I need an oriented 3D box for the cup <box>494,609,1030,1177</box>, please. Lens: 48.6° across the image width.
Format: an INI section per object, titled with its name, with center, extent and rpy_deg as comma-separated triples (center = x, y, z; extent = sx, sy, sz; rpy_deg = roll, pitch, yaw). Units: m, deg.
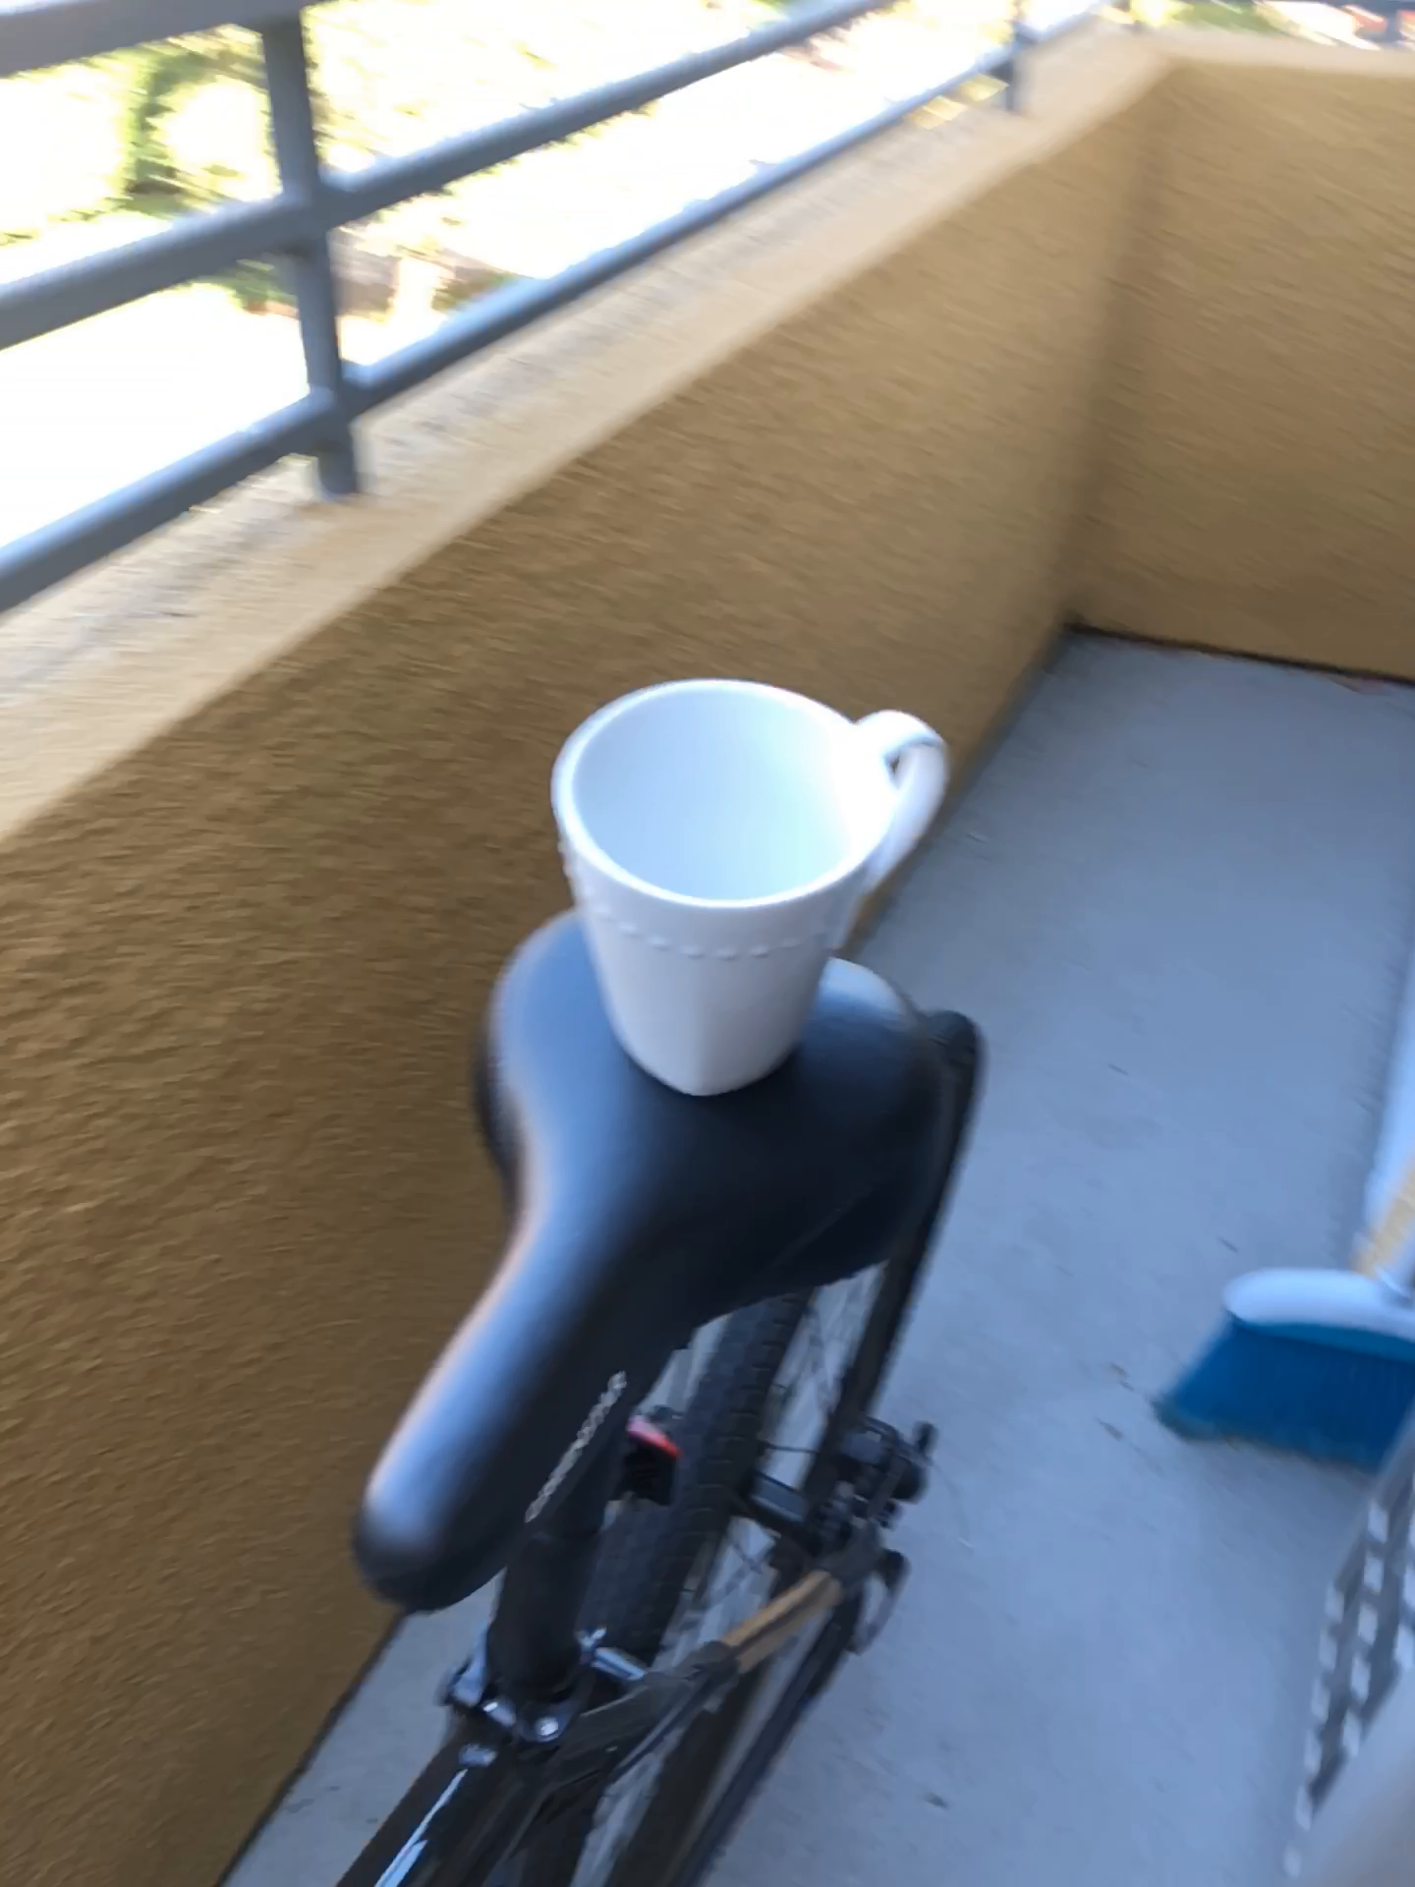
[cup]
center = 0.015, -0.021, 0.478
extent = 0.090, 0.100, 0.130
rpy_deg = 32, 47, 30
